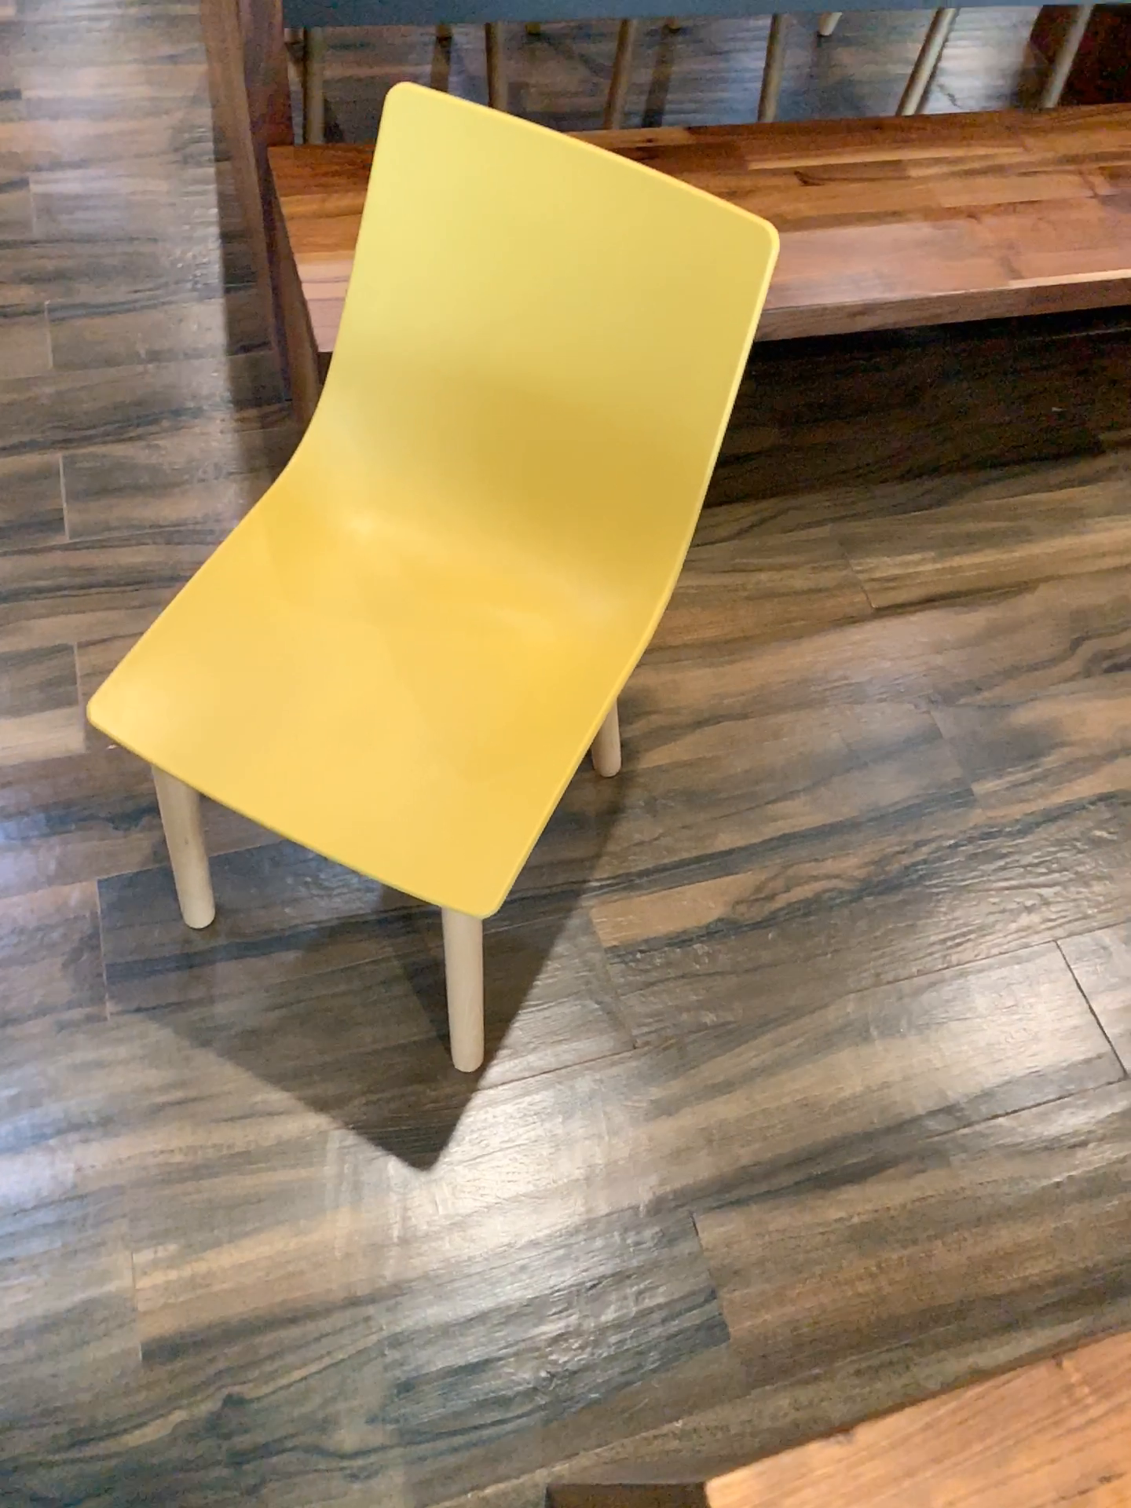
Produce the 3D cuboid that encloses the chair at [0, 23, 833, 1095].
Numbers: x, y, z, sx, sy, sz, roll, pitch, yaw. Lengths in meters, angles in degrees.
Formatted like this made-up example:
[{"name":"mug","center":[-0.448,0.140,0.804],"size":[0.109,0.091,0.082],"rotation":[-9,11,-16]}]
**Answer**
[{"name":"chair","center":[-0.151,-0.117,1.057],"size":[0.450,0.716,0.503],"rotation":[25,58,9]}]
